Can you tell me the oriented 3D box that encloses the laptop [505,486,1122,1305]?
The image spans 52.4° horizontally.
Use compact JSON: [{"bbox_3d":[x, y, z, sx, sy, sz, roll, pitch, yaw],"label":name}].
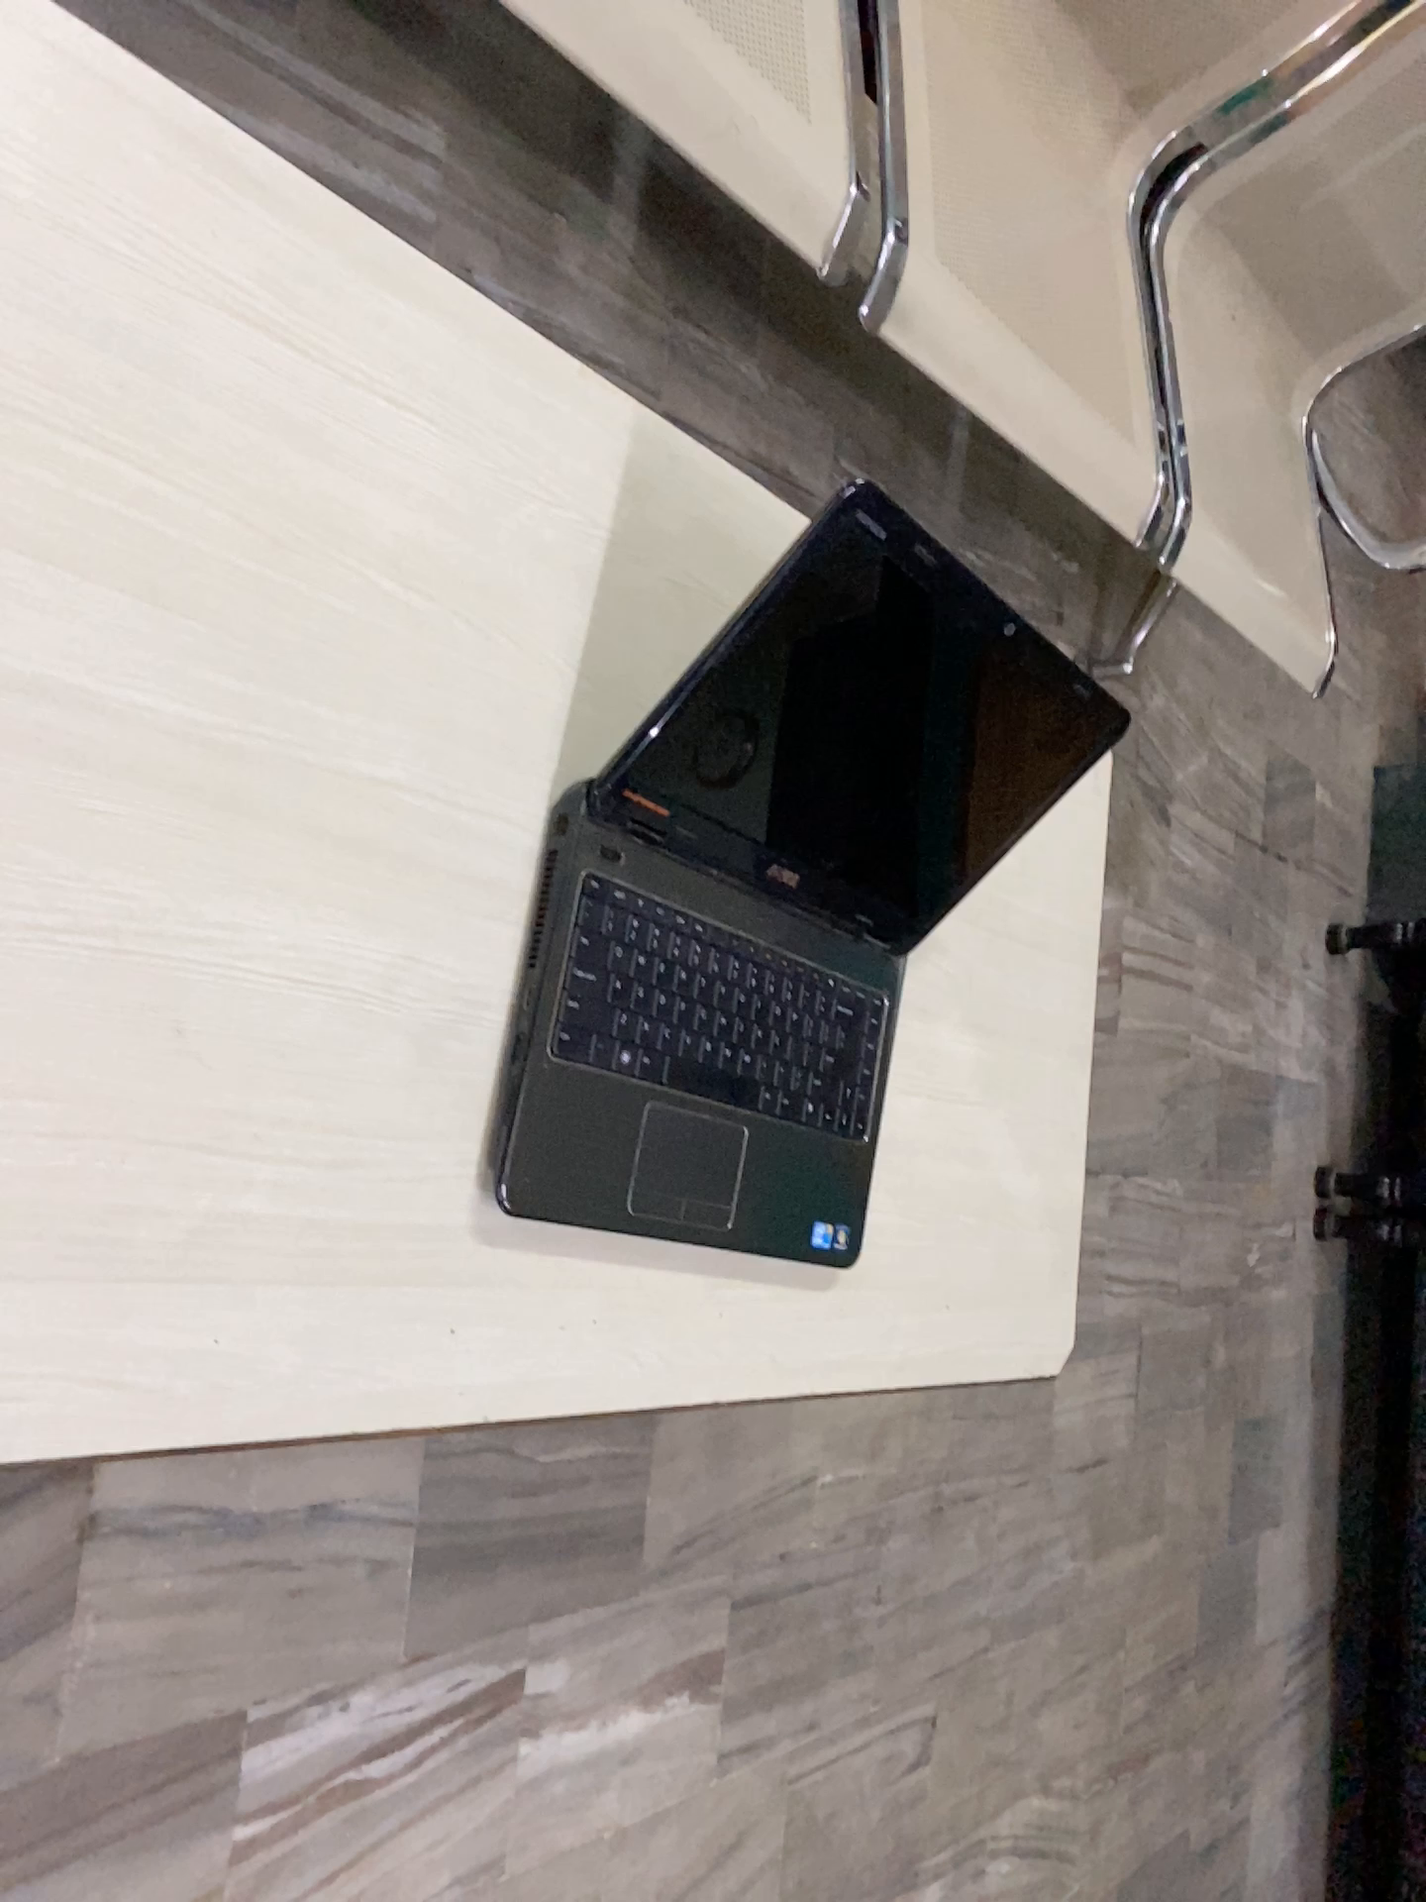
[{"bbox_3d":[0.082,-0.005,0.848,0.331,0.152,0.378,21,74,-49],"label":"laptop"}]
